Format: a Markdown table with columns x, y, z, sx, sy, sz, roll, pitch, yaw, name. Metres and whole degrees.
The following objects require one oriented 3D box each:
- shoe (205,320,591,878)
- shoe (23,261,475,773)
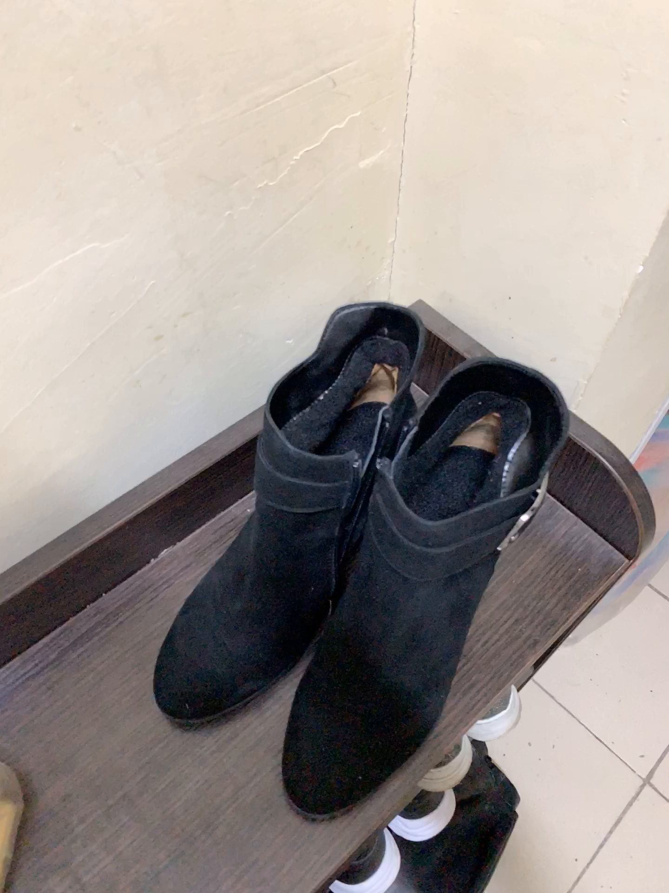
| x | y | z | sx | sy | sz | roll | pitch | yaw | name |
| --- | --- | --- | --- | --- | --- | --- | --- | --- | --- |
| 0.043 | 0.087 | 0.388 | 0.088 | 0.189 | 0.241 | 22 | 56 | 15 | shoe |
| -0.029 | 0.043 | 0.412 | 0.088 | 0.189 | 0.240 | 31 | 59 | 20 | shoe |
